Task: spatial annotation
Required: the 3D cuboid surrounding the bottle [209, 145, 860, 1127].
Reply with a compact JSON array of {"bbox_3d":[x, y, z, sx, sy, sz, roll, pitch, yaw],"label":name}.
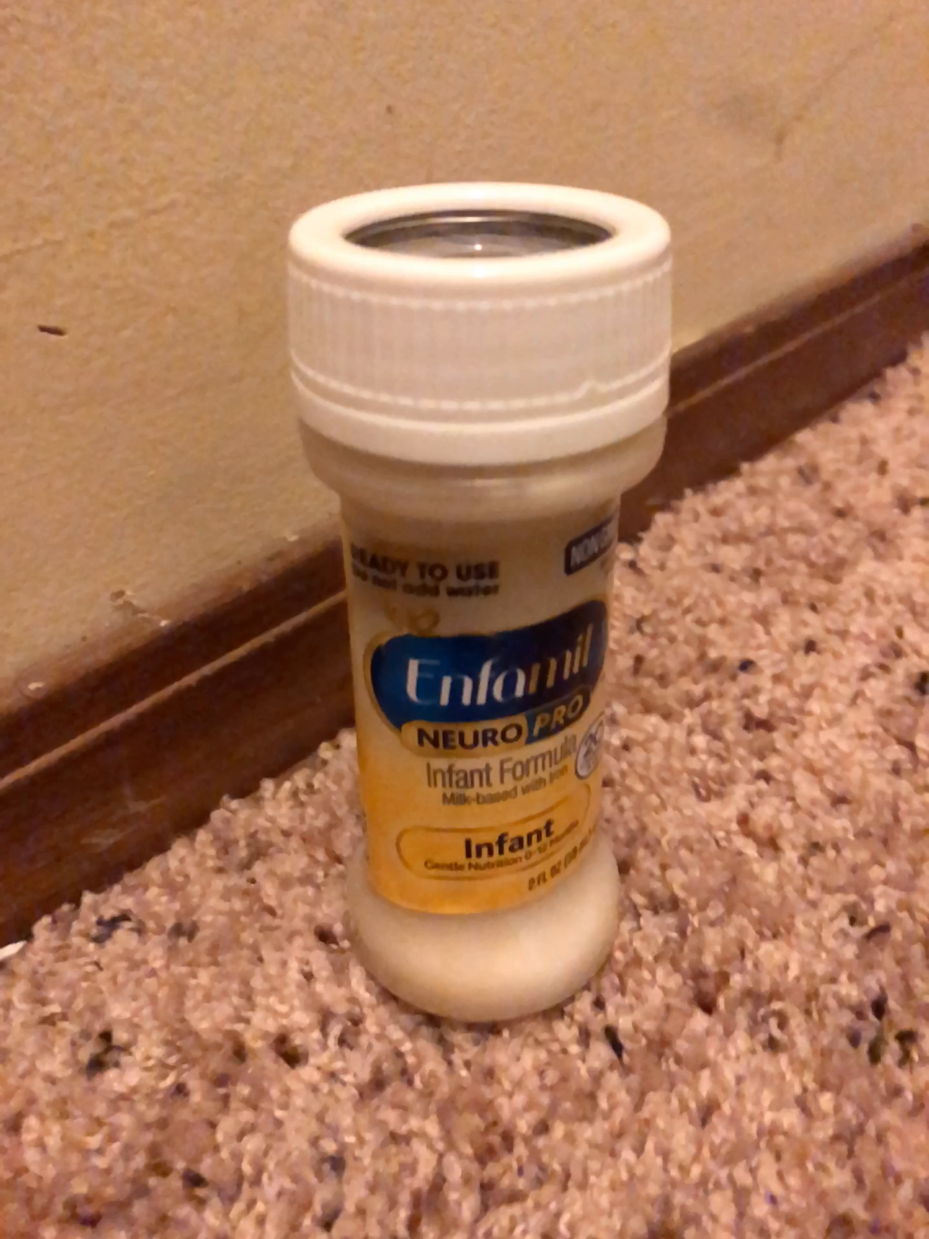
[{"bbox_3d":[0.003,0.005,0.134,0.050,0.110,0.050,0,35,0],"label":"bottle"}]
